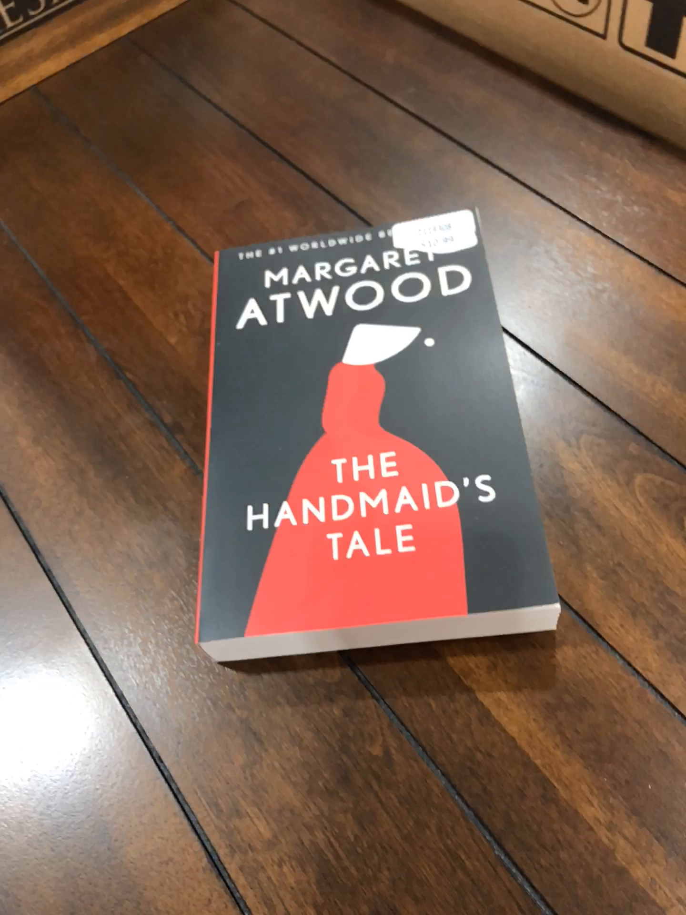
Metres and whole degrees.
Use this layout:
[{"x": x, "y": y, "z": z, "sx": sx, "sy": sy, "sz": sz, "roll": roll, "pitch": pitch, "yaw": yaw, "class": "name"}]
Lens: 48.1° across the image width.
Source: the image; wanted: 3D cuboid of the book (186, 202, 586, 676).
[{"x": 0.010, "y": -0.019, "z": 0.332, "sx": 0.138, "sy": 0.030, "sz": 0.207, "roll": -7, "pitch": 57, "yaw": 6, "class": "book"}]
